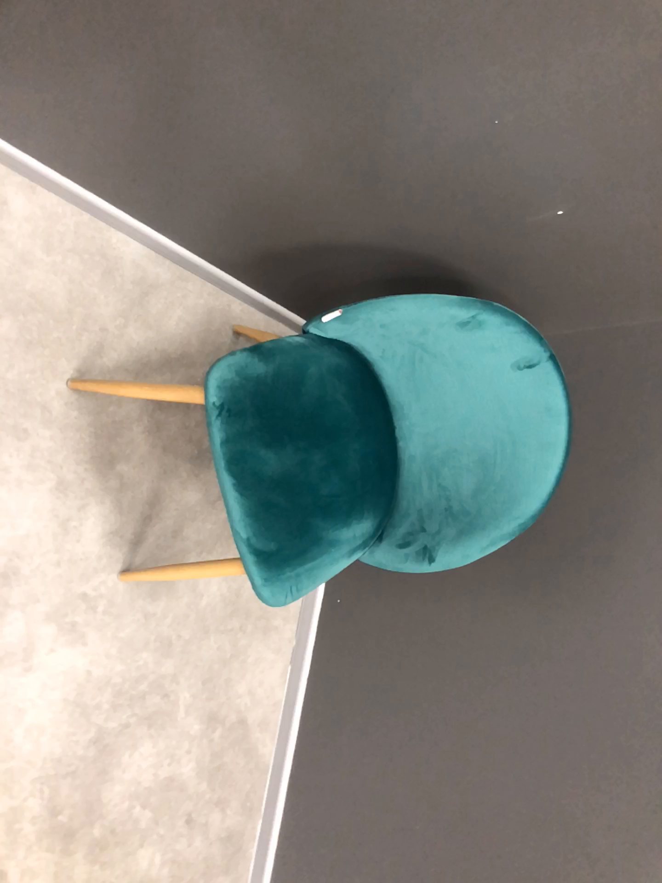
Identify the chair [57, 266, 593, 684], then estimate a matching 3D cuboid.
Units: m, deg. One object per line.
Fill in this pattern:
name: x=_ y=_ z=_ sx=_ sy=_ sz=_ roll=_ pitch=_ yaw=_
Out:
chair: x=-0.029 y=0.020 z=1.466 sx=0.543 sy=0.855 sz=0.540 roll=-23 pitch=106 yaw=-45
